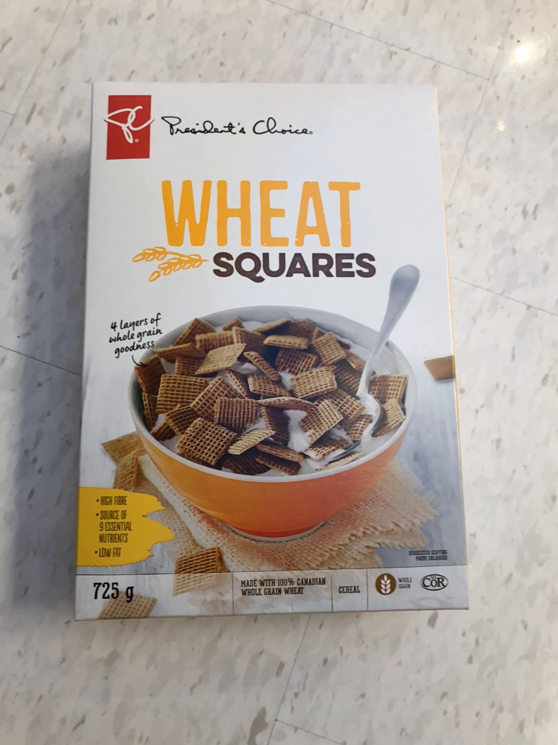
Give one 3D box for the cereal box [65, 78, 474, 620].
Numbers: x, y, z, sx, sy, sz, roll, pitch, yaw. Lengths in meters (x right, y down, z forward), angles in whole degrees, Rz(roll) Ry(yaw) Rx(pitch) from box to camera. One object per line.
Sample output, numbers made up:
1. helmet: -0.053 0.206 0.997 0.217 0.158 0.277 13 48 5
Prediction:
1. cereal box: -0.008 -0.018 0.366 0.200 0.080 0.290 -1 80 -3
